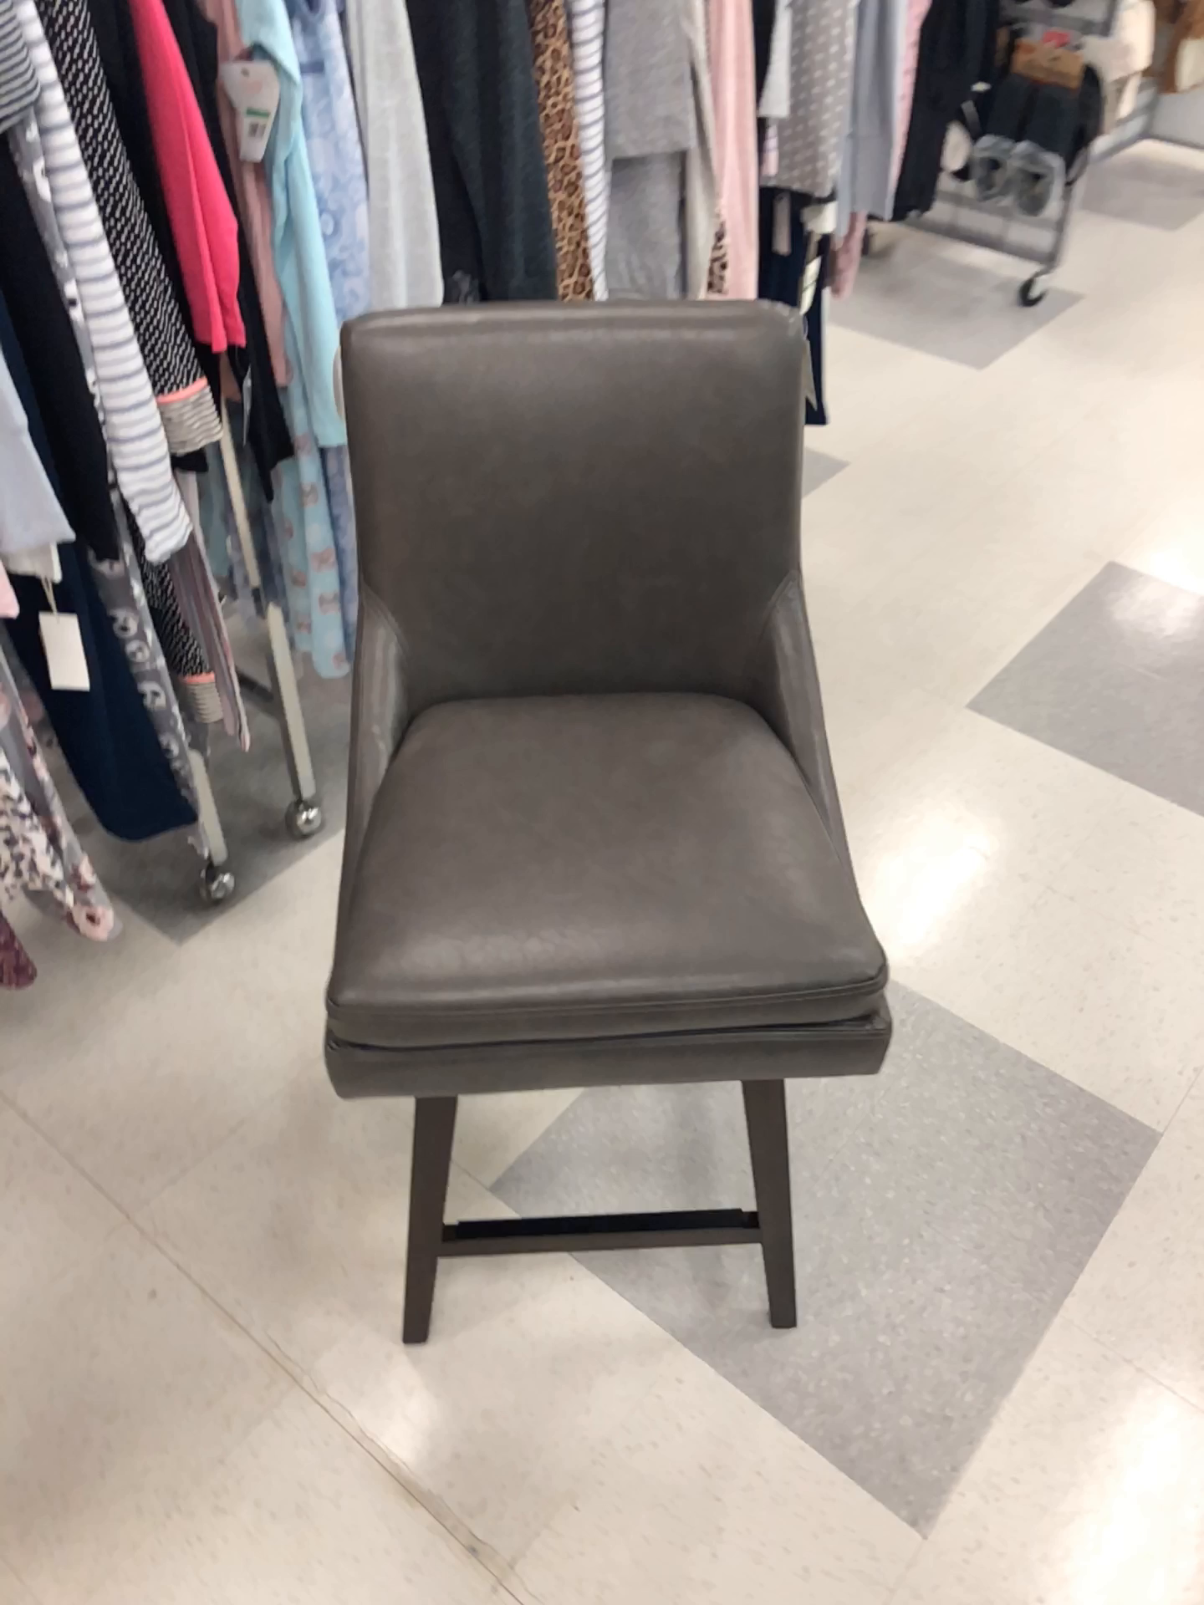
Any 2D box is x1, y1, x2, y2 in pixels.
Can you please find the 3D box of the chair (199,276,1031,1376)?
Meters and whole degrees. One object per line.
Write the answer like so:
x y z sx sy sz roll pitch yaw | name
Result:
-0.009 0.058 1.302 0.491 0.918 0.582 -2 43 -3 | chair
